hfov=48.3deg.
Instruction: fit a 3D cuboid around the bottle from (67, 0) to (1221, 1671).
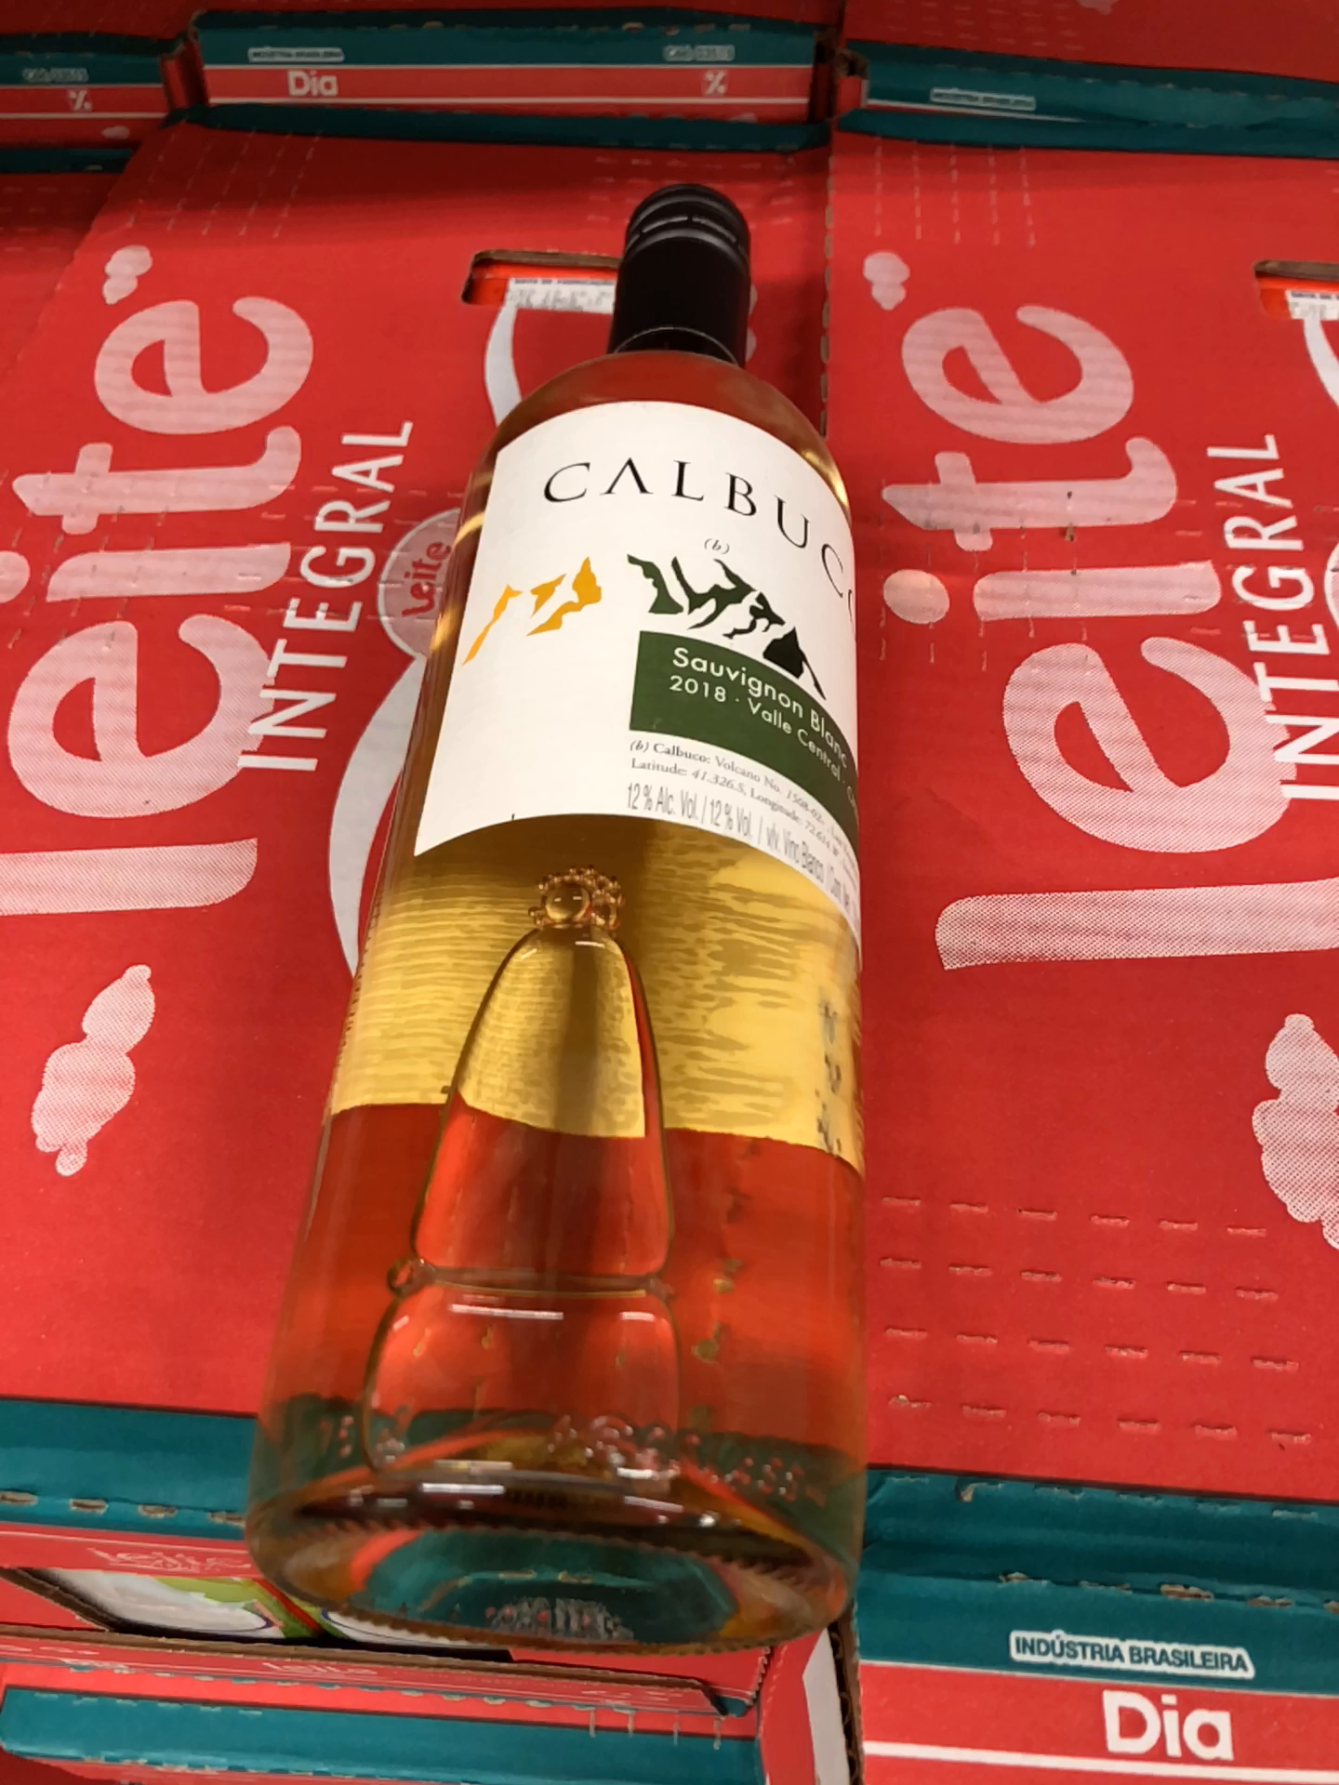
[{"bbox_3d":[0.000,-0.042,0.250,0.090,0.100,0.291,24,52,-26],"label":"bottle"}]
